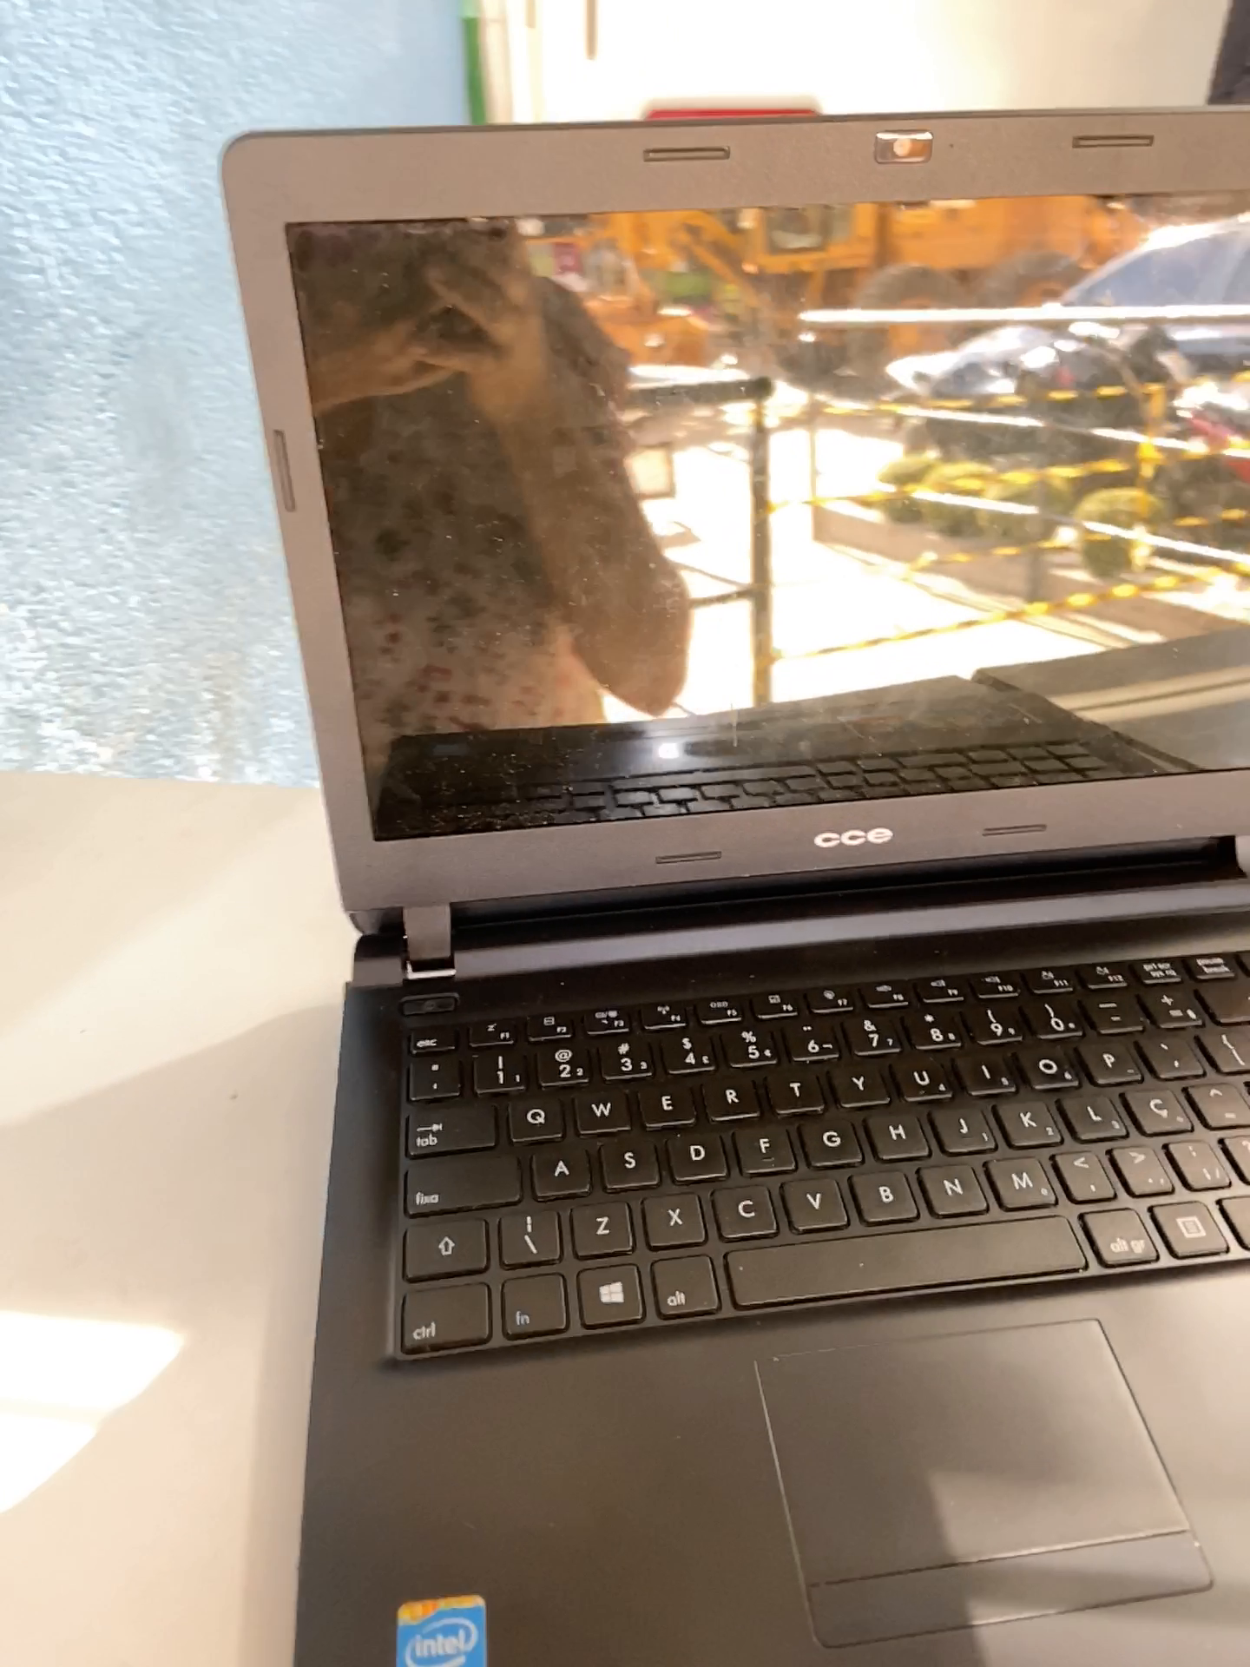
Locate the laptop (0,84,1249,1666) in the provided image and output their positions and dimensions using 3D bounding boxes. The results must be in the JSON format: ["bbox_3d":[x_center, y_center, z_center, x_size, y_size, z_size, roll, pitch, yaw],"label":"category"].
[{"bbox_3d":[0.087,-0.010,0.282,0.323,0.216,0.268,-5,37,-4],"label":"laptop"}]
